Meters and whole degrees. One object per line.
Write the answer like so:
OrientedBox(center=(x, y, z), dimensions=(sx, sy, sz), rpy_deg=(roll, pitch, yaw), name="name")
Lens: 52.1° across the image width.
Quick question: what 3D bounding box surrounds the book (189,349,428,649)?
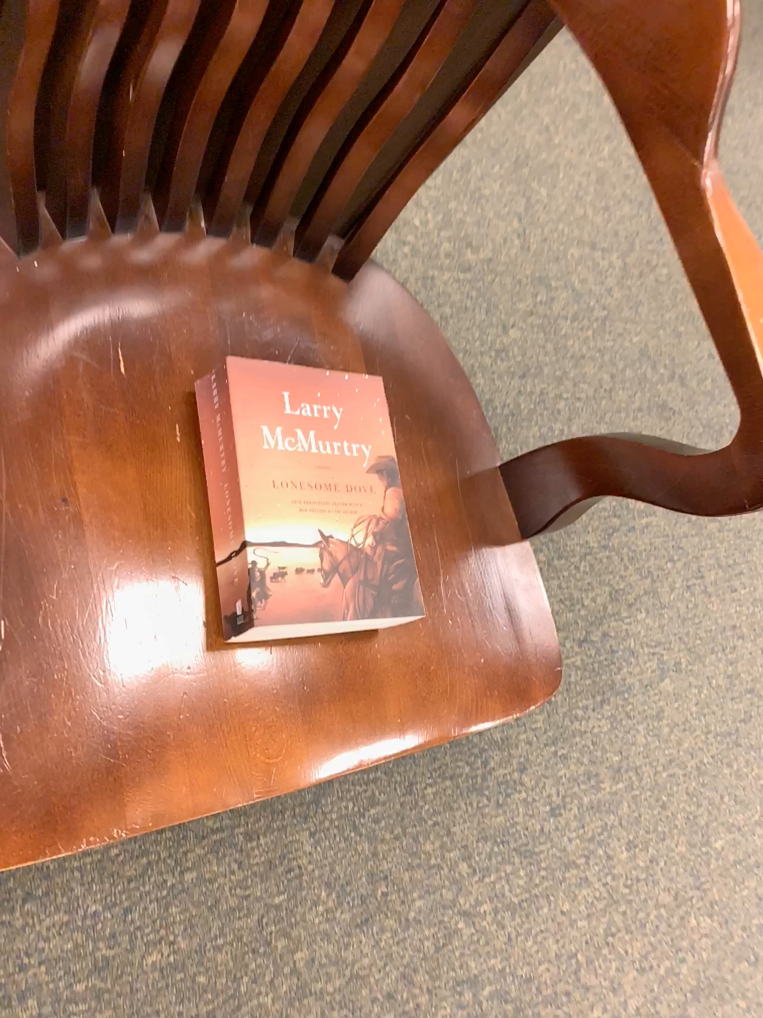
OrientedBox(center=(-0.057, -0.007, 0.579), dimensions=(0.140, 0.060, 0.200), rpy_deg=(1, 69, -30), name="book")
